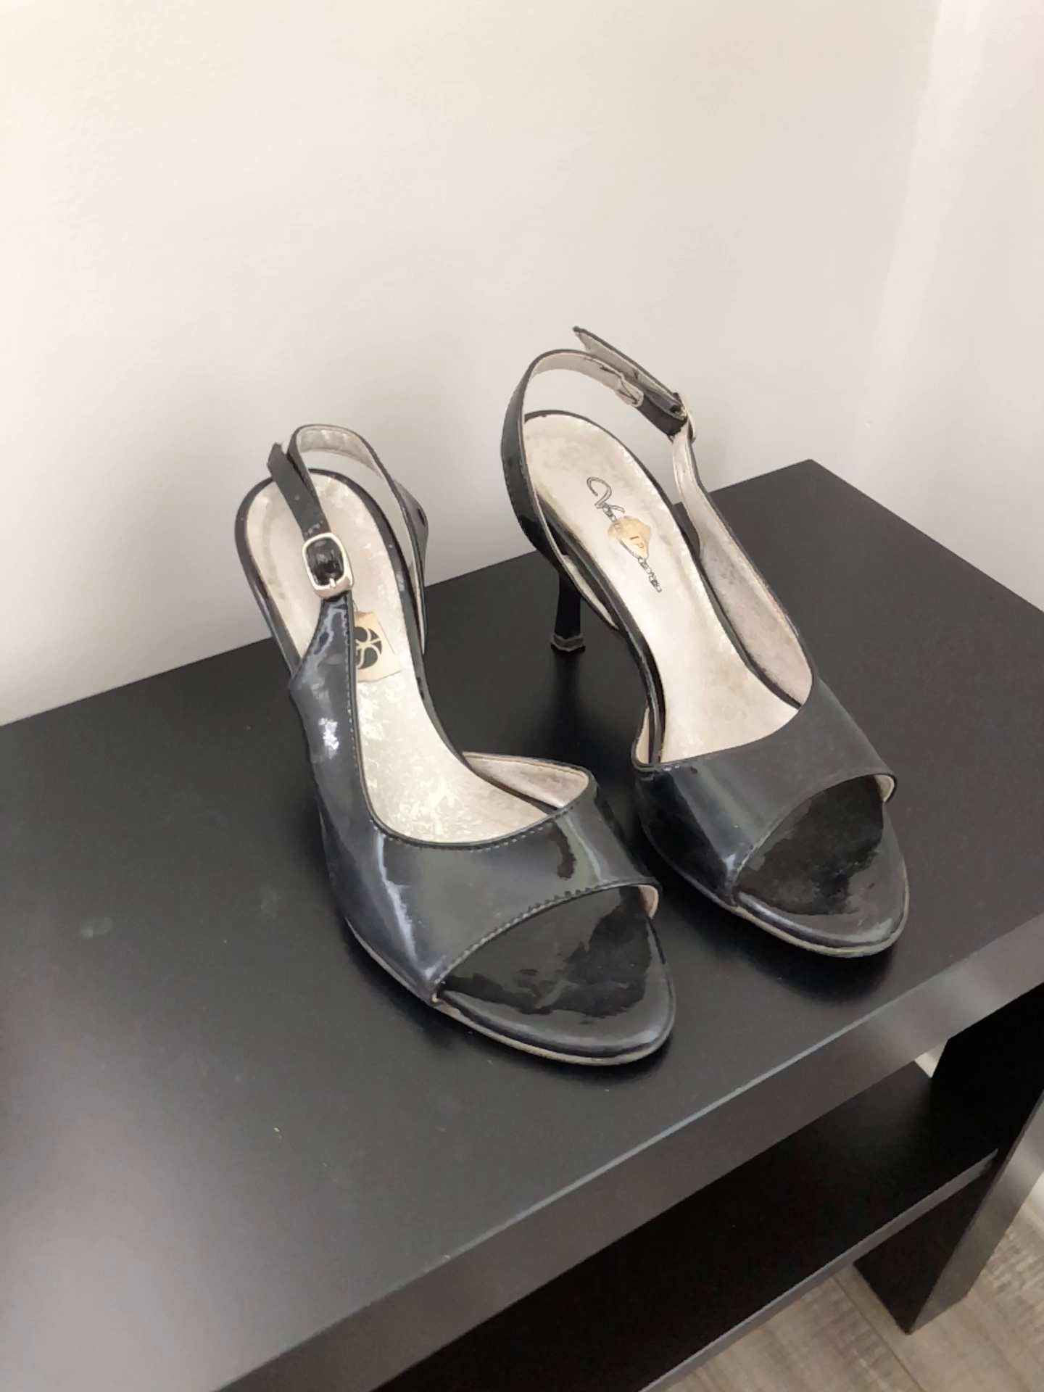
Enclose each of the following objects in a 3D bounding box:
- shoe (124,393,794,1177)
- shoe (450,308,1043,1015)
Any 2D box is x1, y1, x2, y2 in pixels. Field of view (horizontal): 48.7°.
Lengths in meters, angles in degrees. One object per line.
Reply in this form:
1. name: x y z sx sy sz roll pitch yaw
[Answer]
1. shoe: -0.031 0.010 0.346 0.083 0.110 0.211 -23 46 -25
2. shoe: 0.061 -0.026 0.371 0.083 0.110 0.211 -18 44 -20
